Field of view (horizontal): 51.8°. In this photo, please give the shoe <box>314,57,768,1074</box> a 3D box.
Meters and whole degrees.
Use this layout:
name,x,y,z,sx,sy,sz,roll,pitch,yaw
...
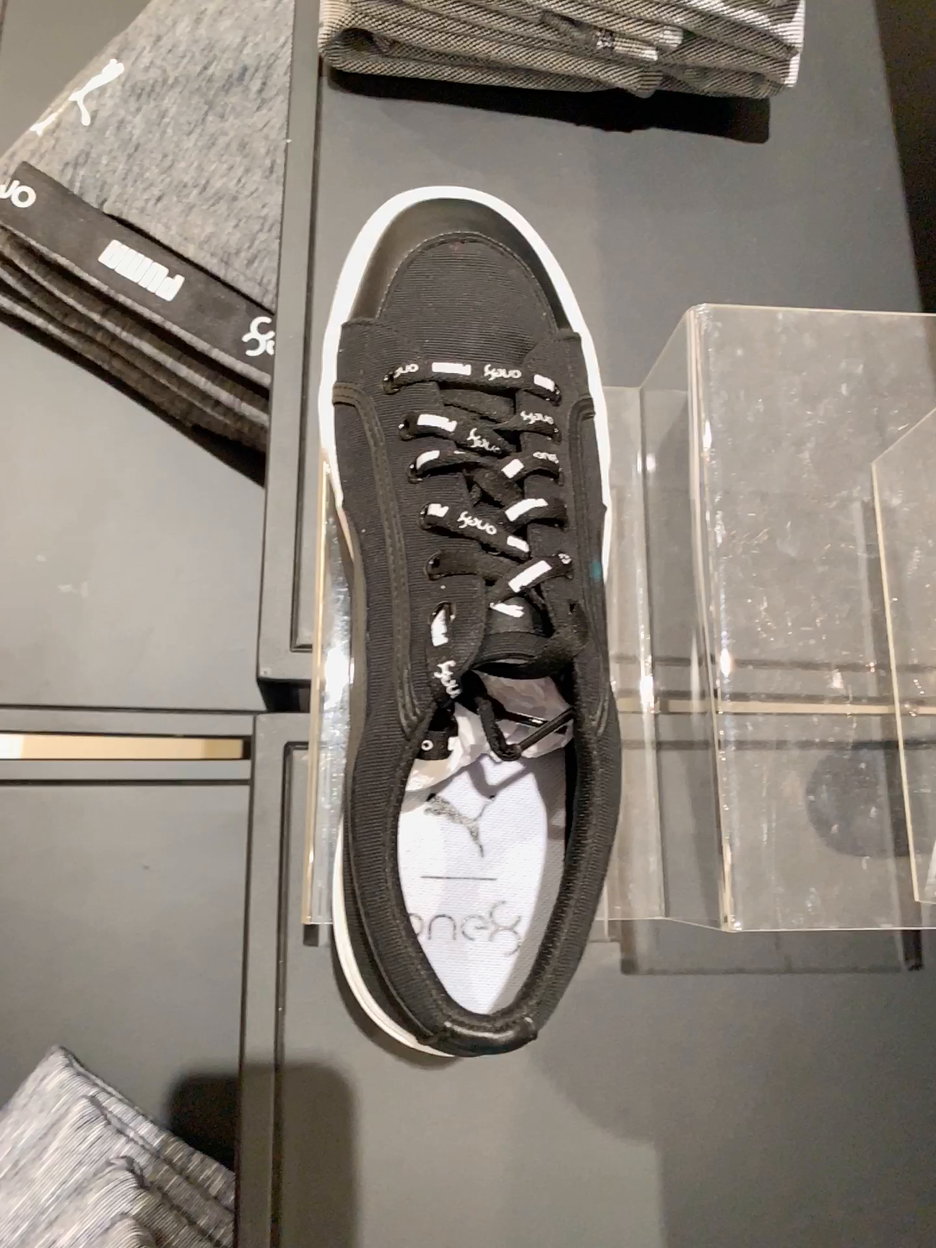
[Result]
name,x,y,z,sx,sy,sz,roll,pitch,yaw
shoe,0.012,-0.020,0.310,0.110,0.100,0.280,2,76,-8
